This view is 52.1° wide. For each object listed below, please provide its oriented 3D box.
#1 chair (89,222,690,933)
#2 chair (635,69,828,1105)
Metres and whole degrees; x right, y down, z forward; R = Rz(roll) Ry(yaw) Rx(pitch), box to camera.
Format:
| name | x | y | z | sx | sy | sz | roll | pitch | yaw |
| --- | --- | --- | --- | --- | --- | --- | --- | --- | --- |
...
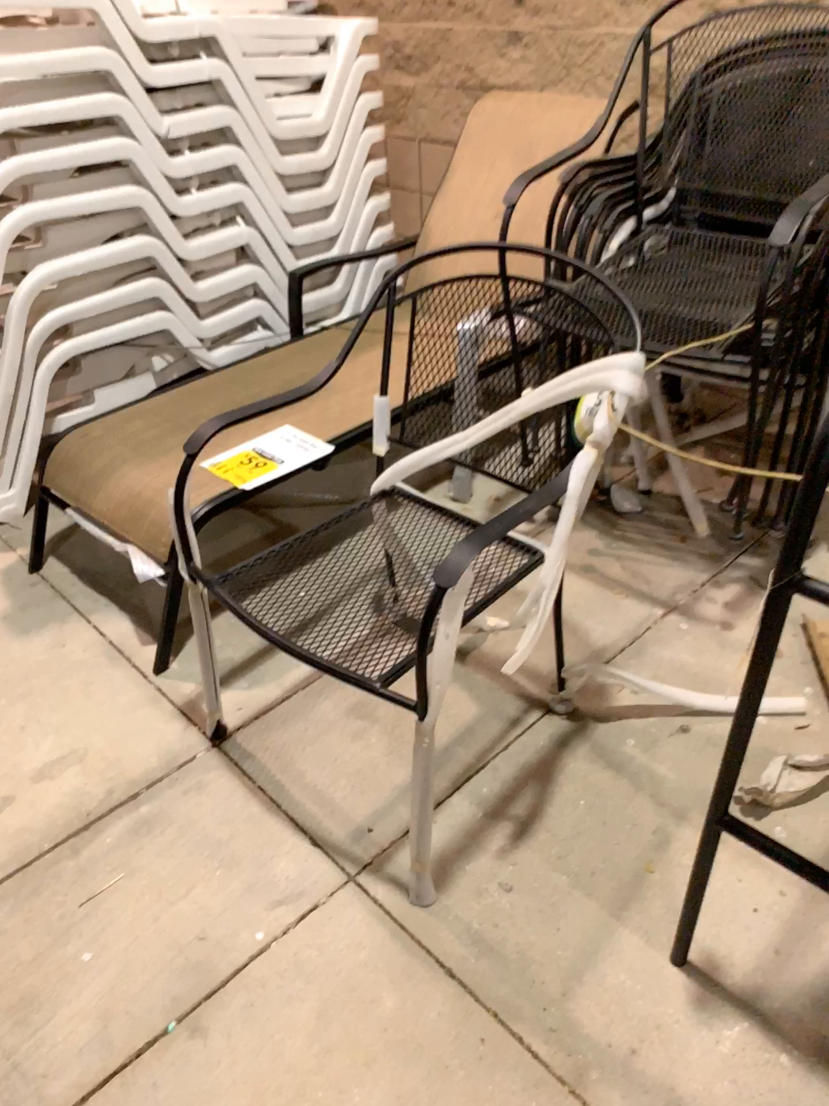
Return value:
| name | x | y | z | sx | sy | sz | roll | pitch | yaw |
| --- | --- | --- | --- | --- | --- | --- | --- | --- | --- |
| chair | -0.015 | -0.007 | 1.447 | 0.576 | 0.869 | 0.640 | 25 | 42 | 33 |
| chair | 0.798 | 0.130 | 0.984 | 0.710 | 1.128 | 0.636 | -30 | 43 | -35 |
